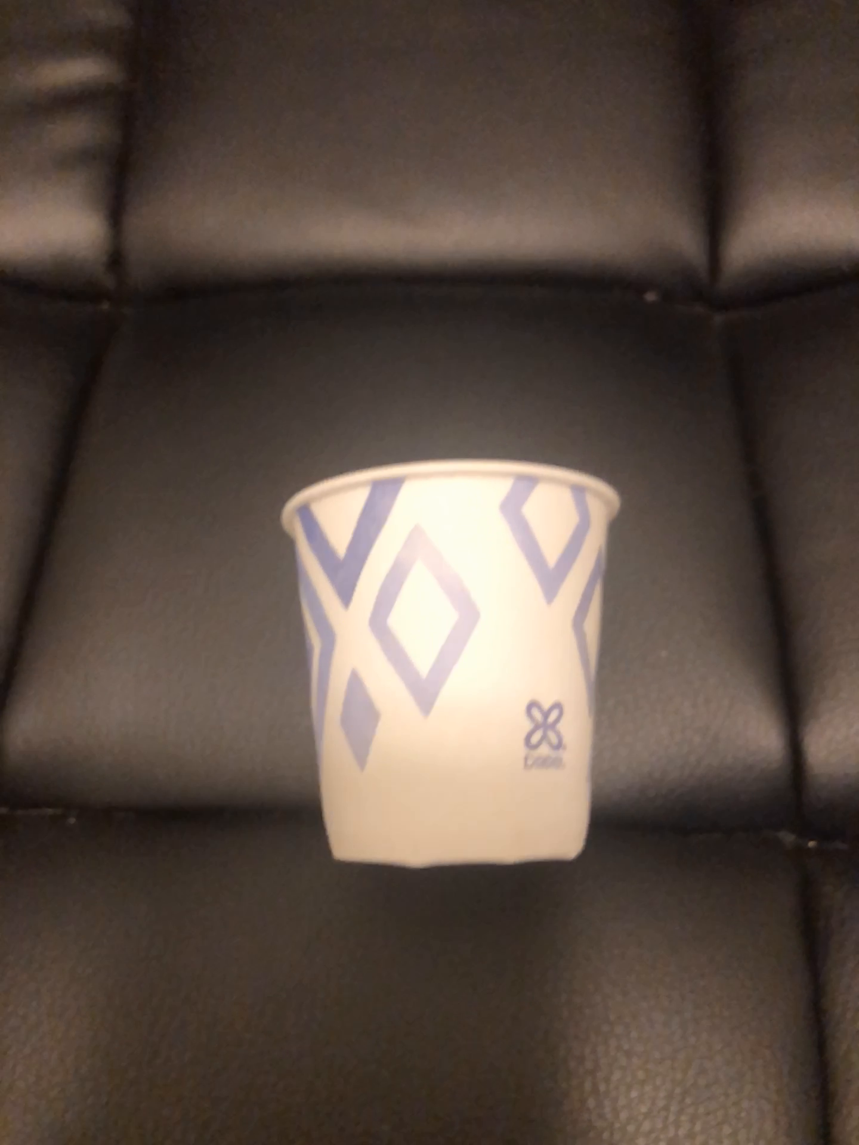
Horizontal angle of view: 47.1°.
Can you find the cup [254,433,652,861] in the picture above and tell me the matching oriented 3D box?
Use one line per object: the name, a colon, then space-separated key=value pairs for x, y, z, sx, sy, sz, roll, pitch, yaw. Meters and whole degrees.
cup: x=0.004 y=0.014 z=0.159 sx=0.052 sy=0.049 sz=0.058 roll=-1 pitch=79 yaw=4
